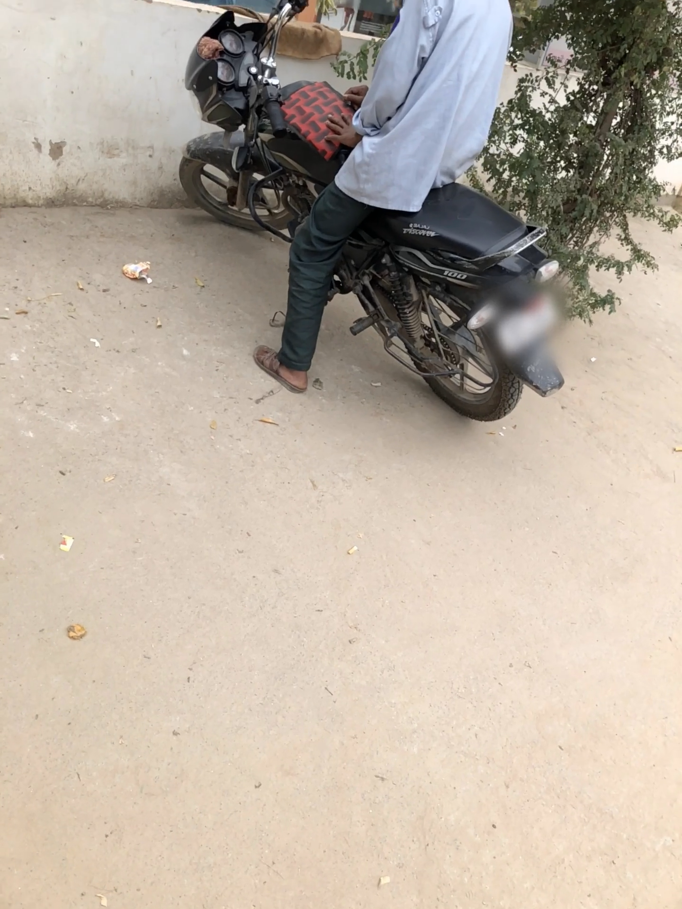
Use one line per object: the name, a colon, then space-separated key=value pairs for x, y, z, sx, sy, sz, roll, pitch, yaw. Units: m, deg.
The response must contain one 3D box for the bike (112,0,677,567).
bike: x=0.001 y=-0.762 z=2.447 sx=0.790 sy=1.332 sz=1.499 roll=-20 pitch=48 yaw=-42
